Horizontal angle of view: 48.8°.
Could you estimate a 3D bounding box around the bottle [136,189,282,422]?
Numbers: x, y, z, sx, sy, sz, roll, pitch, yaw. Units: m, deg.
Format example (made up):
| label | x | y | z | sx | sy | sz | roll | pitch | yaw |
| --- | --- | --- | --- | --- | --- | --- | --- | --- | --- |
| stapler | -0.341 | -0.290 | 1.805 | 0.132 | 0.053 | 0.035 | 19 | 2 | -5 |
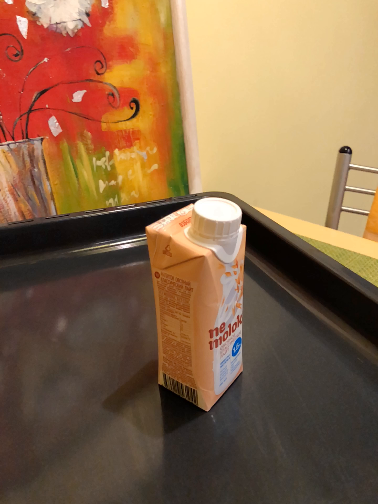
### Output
| label | x | y | z | sx | sy | sz | roll | pitch | yaw |
| --- | --- | --- | --- | --- | --- | --- | --- | --- | --- |
| bottle | 0.013 | 0.030 | 0.264 | 0.060 | 0.119 | 0.060 | -1 | 26 | 0 |
